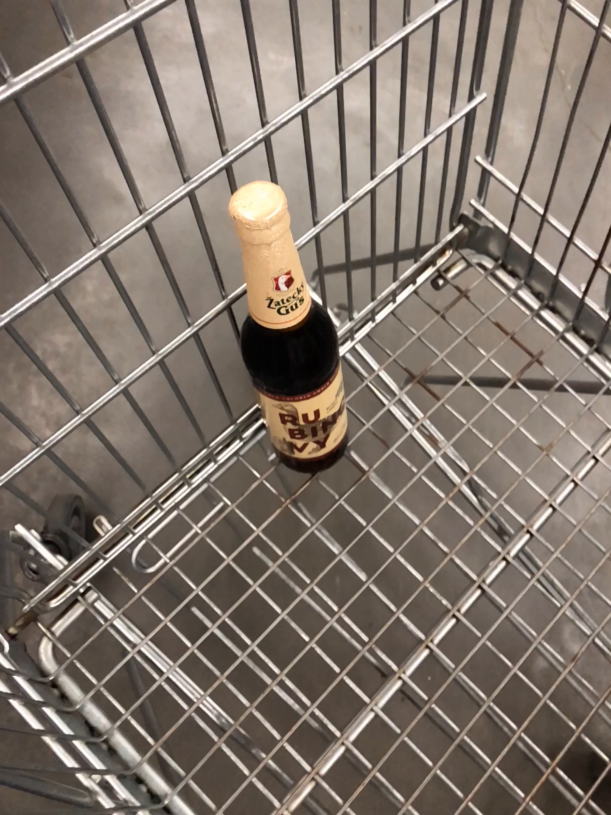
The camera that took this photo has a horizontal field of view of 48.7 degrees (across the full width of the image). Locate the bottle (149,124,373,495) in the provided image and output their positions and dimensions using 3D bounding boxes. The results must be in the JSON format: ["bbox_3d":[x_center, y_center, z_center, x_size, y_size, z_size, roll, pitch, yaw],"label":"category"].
[{"bbox_3d":[-0.015,-0.045,0.443,0.080,0.239,0.080,-4,56,6],"label":"bottle"}]
